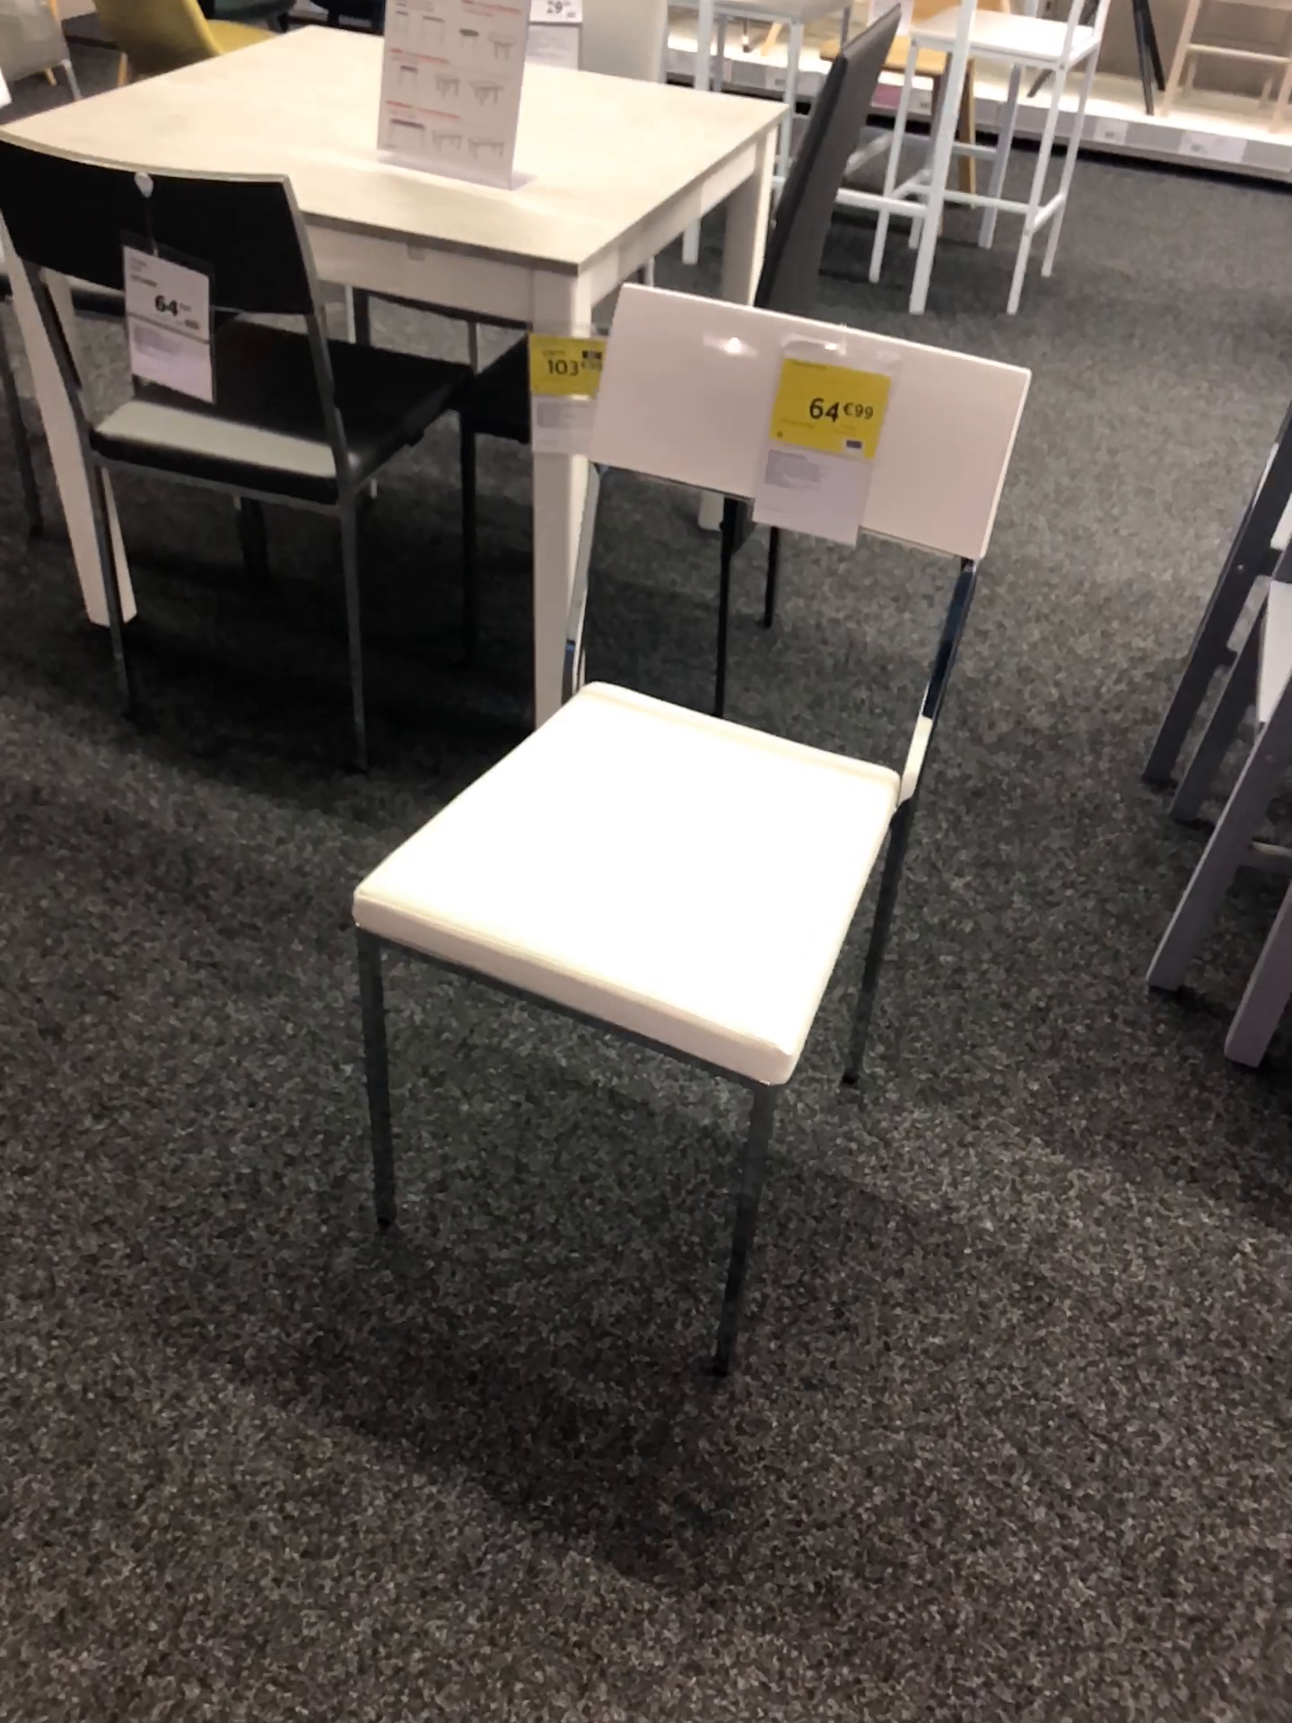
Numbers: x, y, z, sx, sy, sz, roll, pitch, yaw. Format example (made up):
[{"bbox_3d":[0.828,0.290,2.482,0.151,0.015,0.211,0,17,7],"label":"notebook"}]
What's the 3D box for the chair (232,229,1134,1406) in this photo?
[{"bbox_3d":[0.045,-0.040,1.304,0.500,0.815,0.544,18,42,15],"label":"chair"}]
